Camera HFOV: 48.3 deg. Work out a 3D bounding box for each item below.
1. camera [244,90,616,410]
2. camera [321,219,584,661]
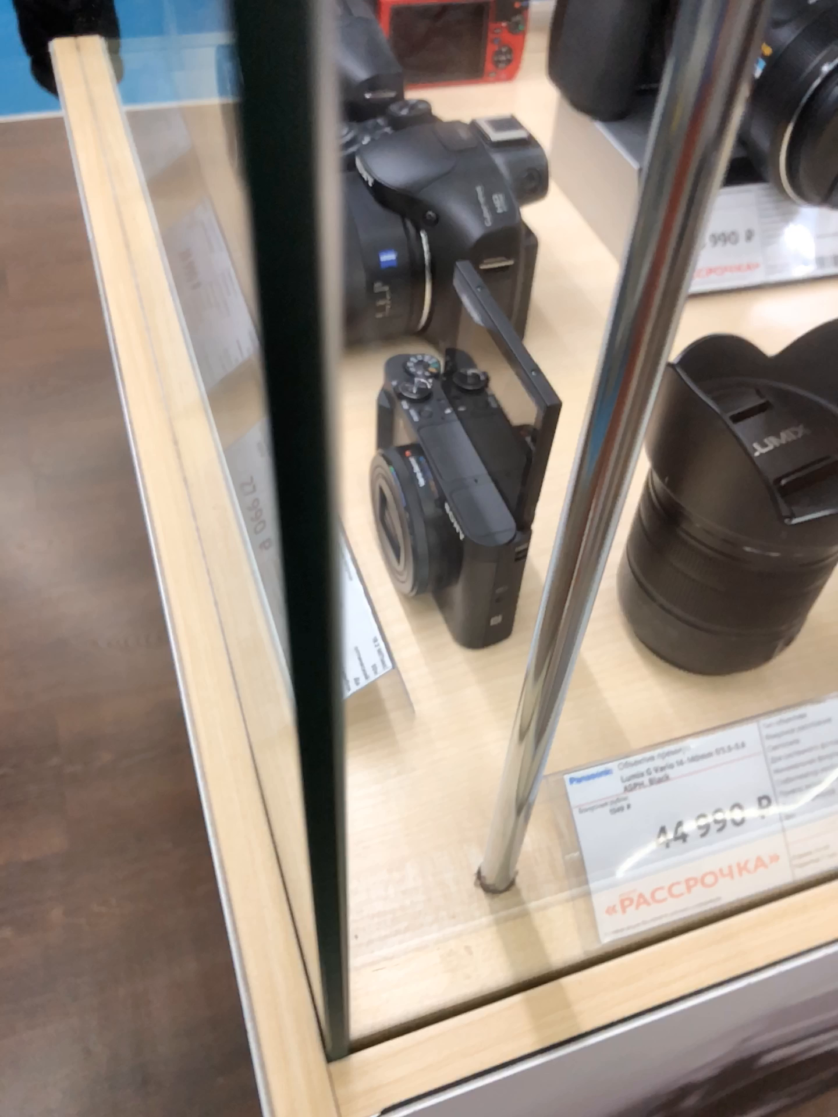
[{"bbox_3d":[-0.001,-0.156,0.458,0.136,0.078,0.133,-12,50,-14],"label":"camera"},{"bbox_3d":[0.004,-0.041,0.326,0.050,0.107,0.100,-12,50,-14],"label":"camera"}]
